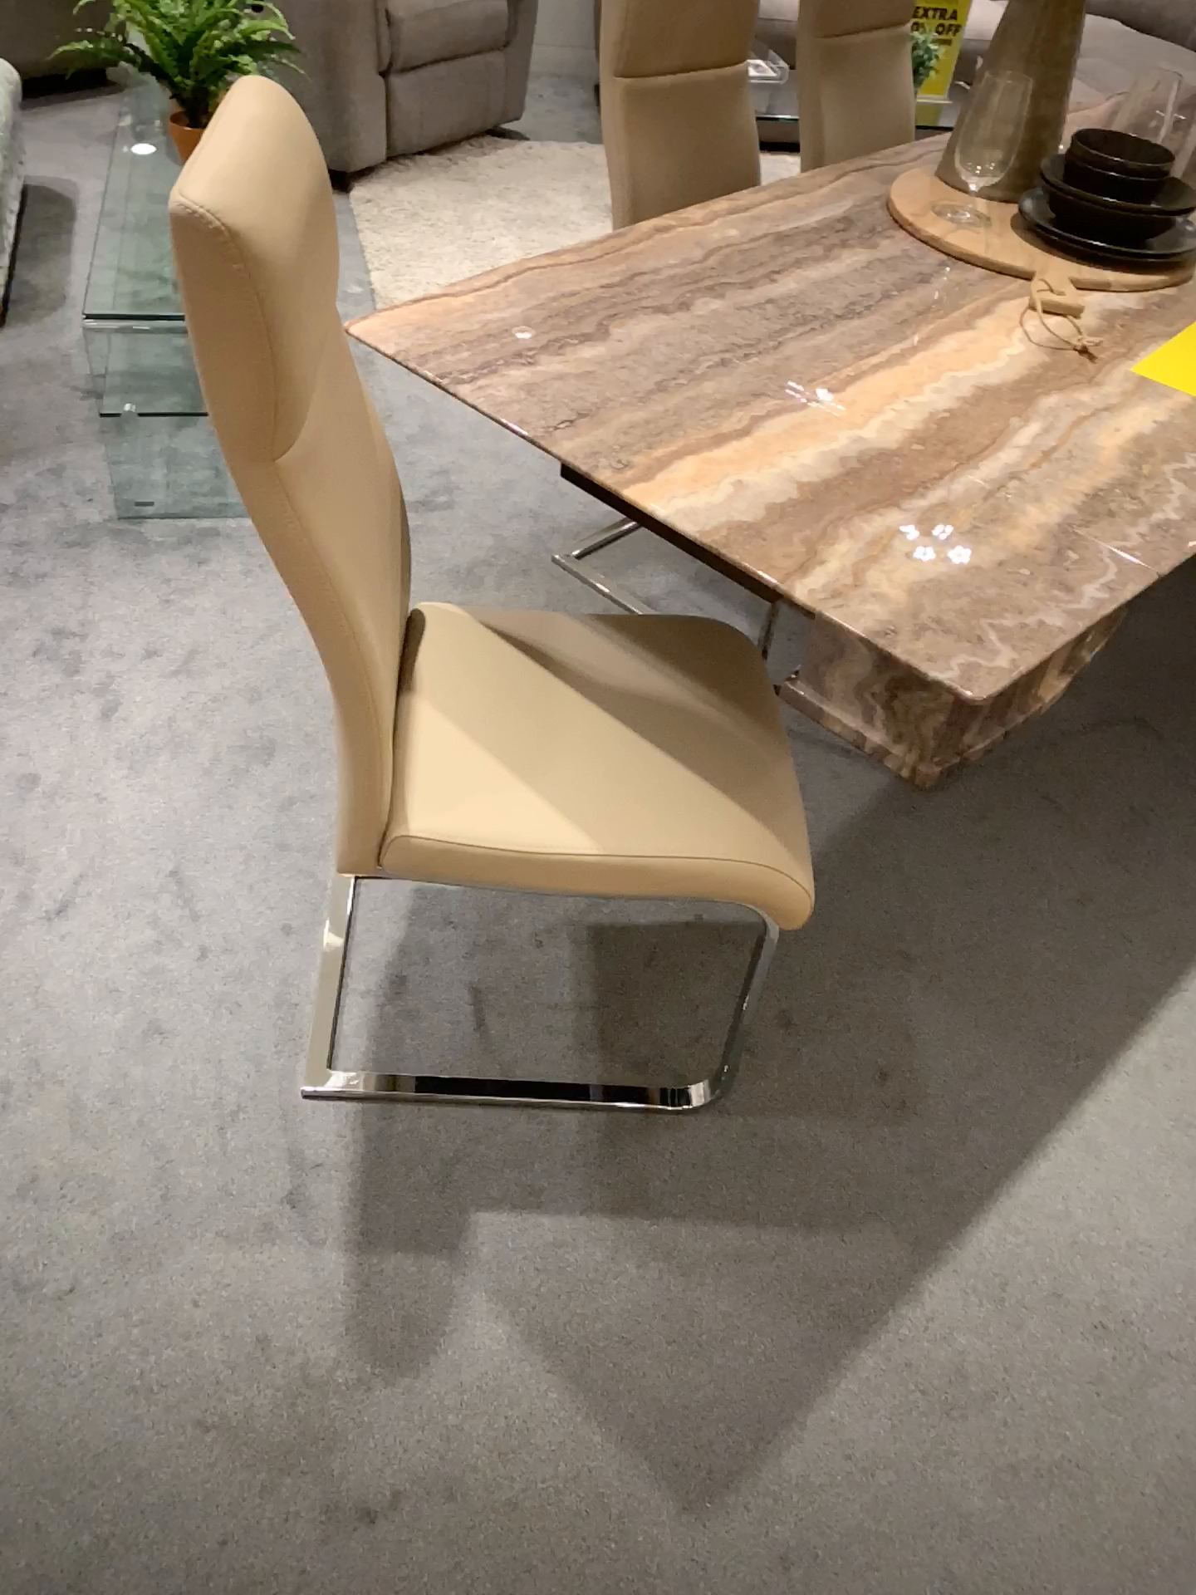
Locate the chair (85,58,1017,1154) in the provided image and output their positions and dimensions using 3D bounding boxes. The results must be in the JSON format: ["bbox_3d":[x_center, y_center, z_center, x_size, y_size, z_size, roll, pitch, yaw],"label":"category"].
[{"bbox_3d":[-0.082,-0.110,1.243,0.569,0.974,0.478,3,43,-6],"label":"chair"}]
